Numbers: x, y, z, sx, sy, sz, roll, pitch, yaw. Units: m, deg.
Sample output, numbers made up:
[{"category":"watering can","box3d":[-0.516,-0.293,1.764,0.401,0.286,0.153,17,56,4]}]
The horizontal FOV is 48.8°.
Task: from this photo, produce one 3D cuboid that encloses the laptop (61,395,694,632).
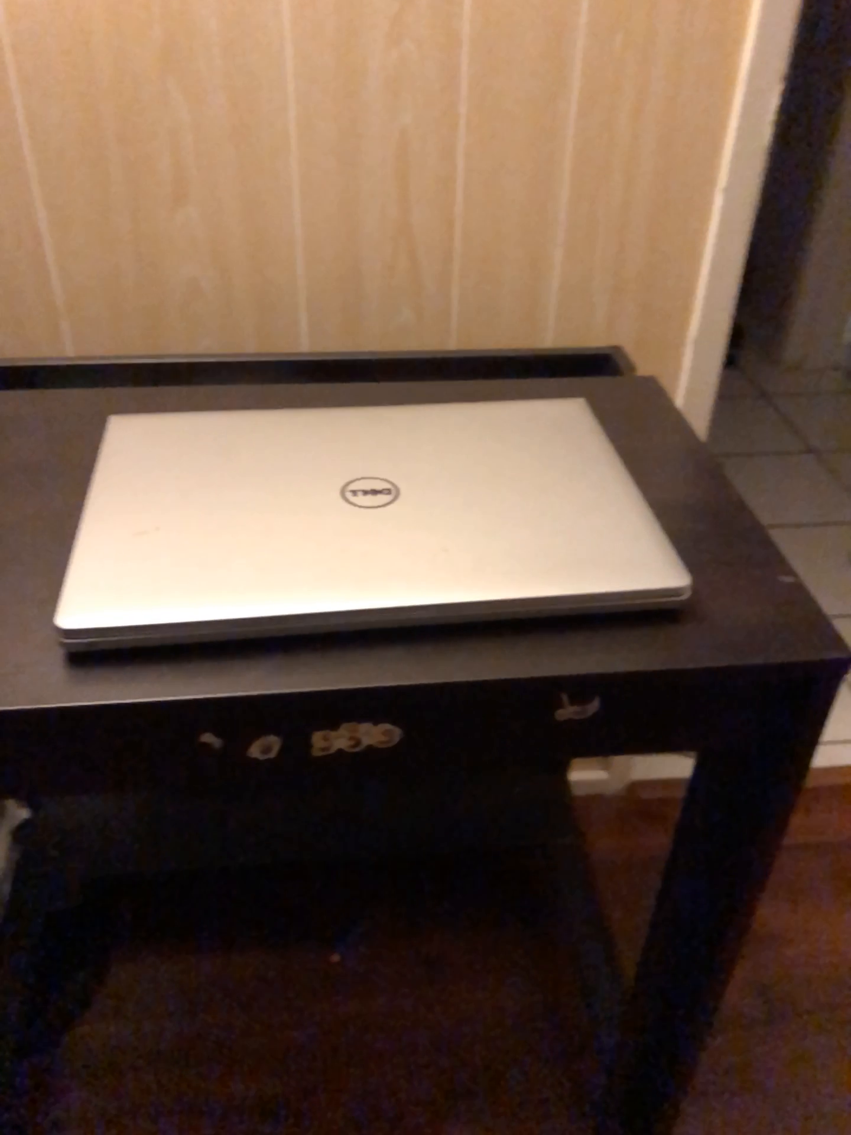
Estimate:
[{"category":"laptop","box3d":[-0.039,-0.052,0.647,0.370,0.003,0.251,-4,37,-6]}]
